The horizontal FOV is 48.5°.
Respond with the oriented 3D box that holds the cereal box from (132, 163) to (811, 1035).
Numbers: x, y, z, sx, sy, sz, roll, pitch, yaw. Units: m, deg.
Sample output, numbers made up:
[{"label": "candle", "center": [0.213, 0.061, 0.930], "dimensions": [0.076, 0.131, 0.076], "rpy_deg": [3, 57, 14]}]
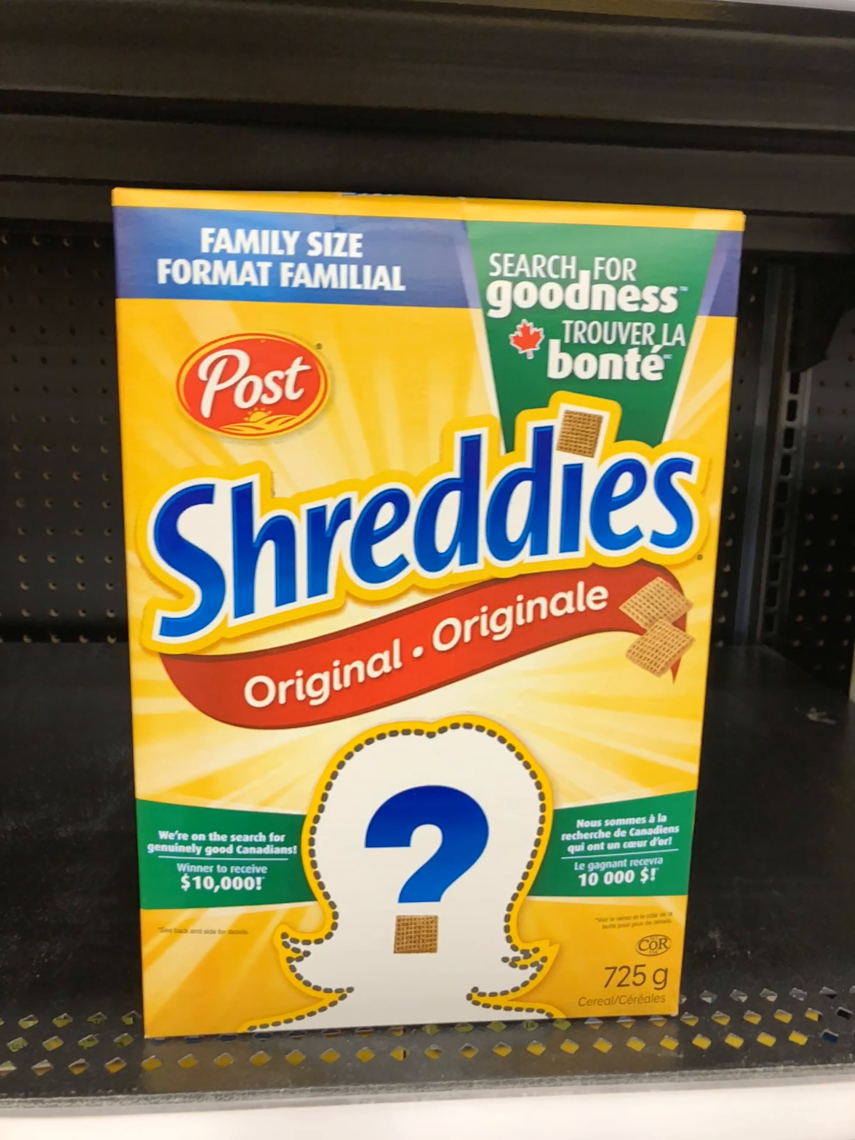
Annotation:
[{"label": "cereal box", "center": [0.010, 0.015, 0.352], "dimensions": [0.210, 0.289, 0.070], "rpy_deg": [0, 11, -6]}]
